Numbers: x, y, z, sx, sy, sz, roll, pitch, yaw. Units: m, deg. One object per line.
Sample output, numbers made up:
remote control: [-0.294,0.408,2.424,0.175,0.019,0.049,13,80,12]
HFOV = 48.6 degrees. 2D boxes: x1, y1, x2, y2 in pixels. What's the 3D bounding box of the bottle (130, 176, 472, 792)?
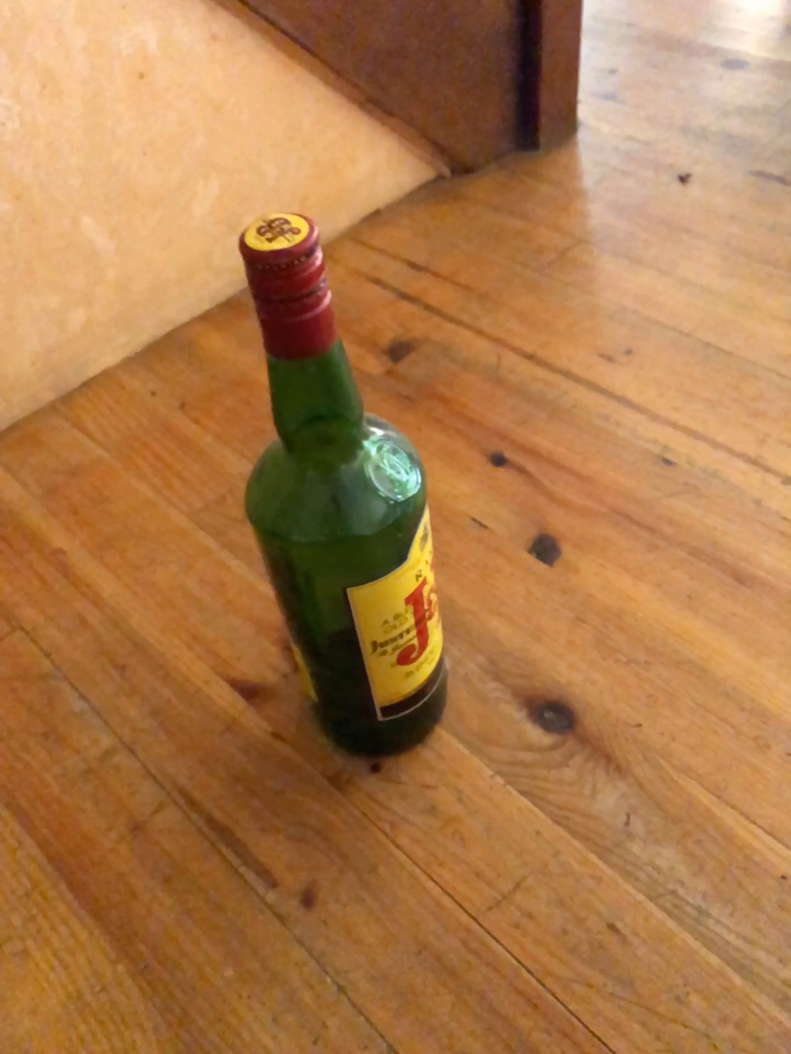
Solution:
bottle: [-0.020,0.007,0.425,0.080,0.318,0.091,12,51,17]
